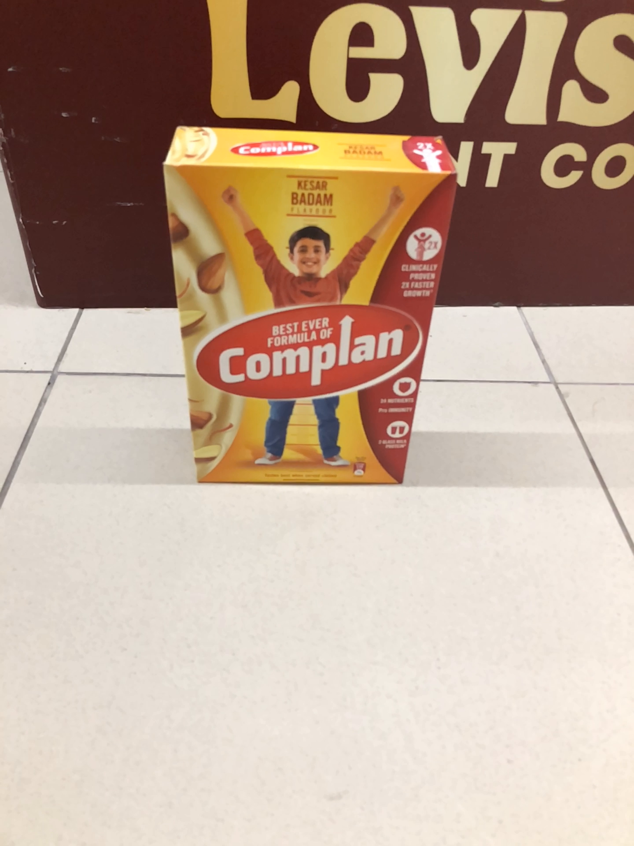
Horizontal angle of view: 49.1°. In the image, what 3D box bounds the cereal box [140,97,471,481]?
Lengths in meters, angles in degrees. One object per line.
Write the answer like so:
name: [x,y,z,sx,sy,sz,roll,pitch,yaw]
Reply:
cereal box: [-0.010,-0.064,0.408,0.150,0.218,0.060,0,41,-3]
